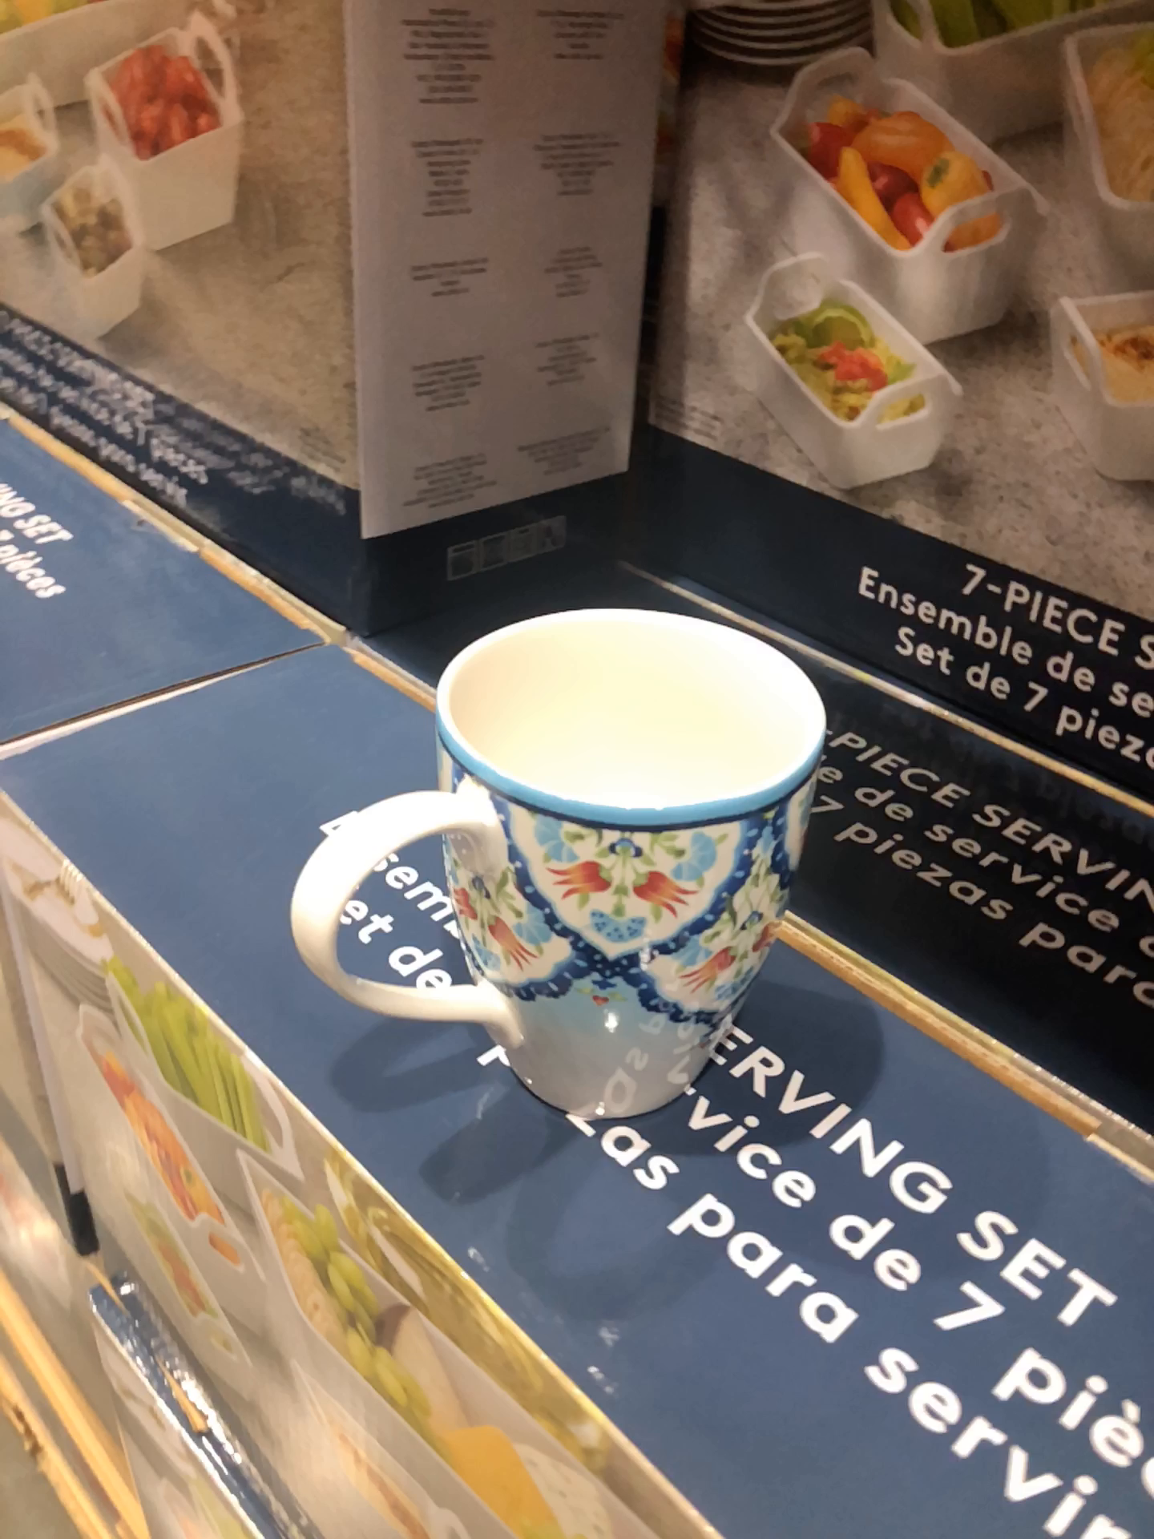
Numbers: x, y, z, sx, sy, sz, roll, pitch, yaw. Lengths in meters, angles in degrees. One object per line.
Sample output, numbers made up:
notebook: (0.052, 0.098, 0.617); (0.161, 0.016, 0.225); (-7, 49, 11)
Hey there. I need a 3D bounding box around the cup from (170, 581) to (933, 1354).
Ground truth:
cup: (-0.004, 0.033, 0.293); (0.137, 0.096, 0.089); (-25, 42, -38)
